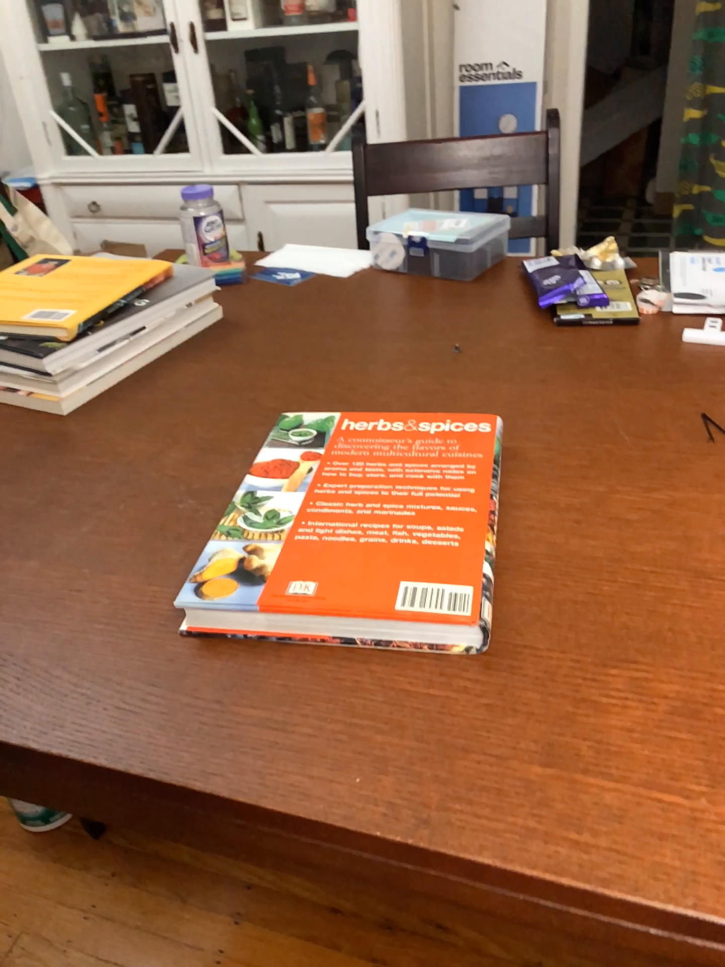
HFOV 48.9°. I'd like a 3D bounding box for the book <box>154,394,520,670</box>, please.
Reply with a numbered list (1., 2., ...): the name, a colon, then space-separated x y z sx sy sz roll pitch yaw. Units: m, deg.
1. book: 0.004 0.014 0.582 0.210 0.040 0.272 2 33 12
